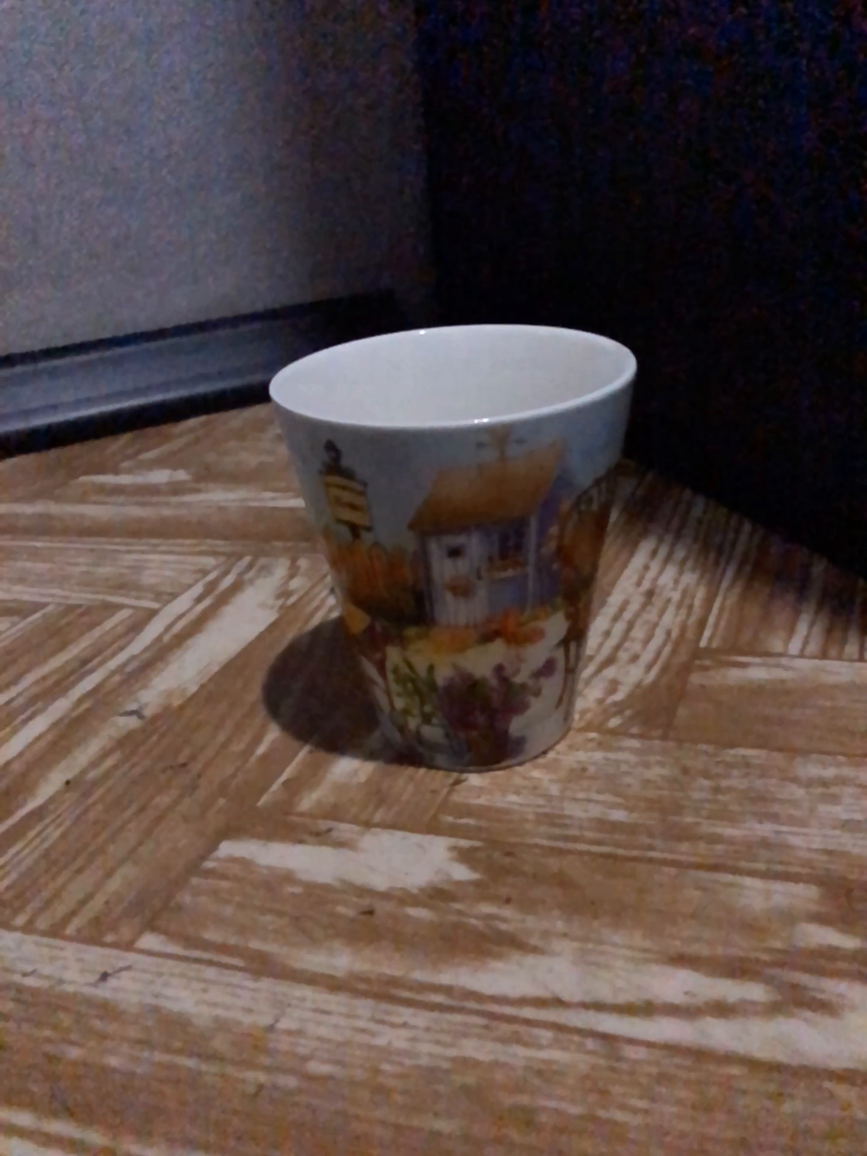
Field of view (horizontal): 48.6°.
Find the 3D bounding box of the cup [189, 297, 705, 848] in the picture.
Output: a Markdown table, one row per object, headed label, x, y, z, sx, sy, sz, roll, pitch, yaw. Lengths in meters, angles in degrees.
| label | x | y | z | sx | sy | sz | roll | pitch | yaw |
| --- | --- | --- | --- | --- | --- | --- | --- | --- | --- |
| cup | -0.001 | -0.013 | 0.249 | 0.079 | 0.090 | 0.112 | -18 | 29 | -23 |
